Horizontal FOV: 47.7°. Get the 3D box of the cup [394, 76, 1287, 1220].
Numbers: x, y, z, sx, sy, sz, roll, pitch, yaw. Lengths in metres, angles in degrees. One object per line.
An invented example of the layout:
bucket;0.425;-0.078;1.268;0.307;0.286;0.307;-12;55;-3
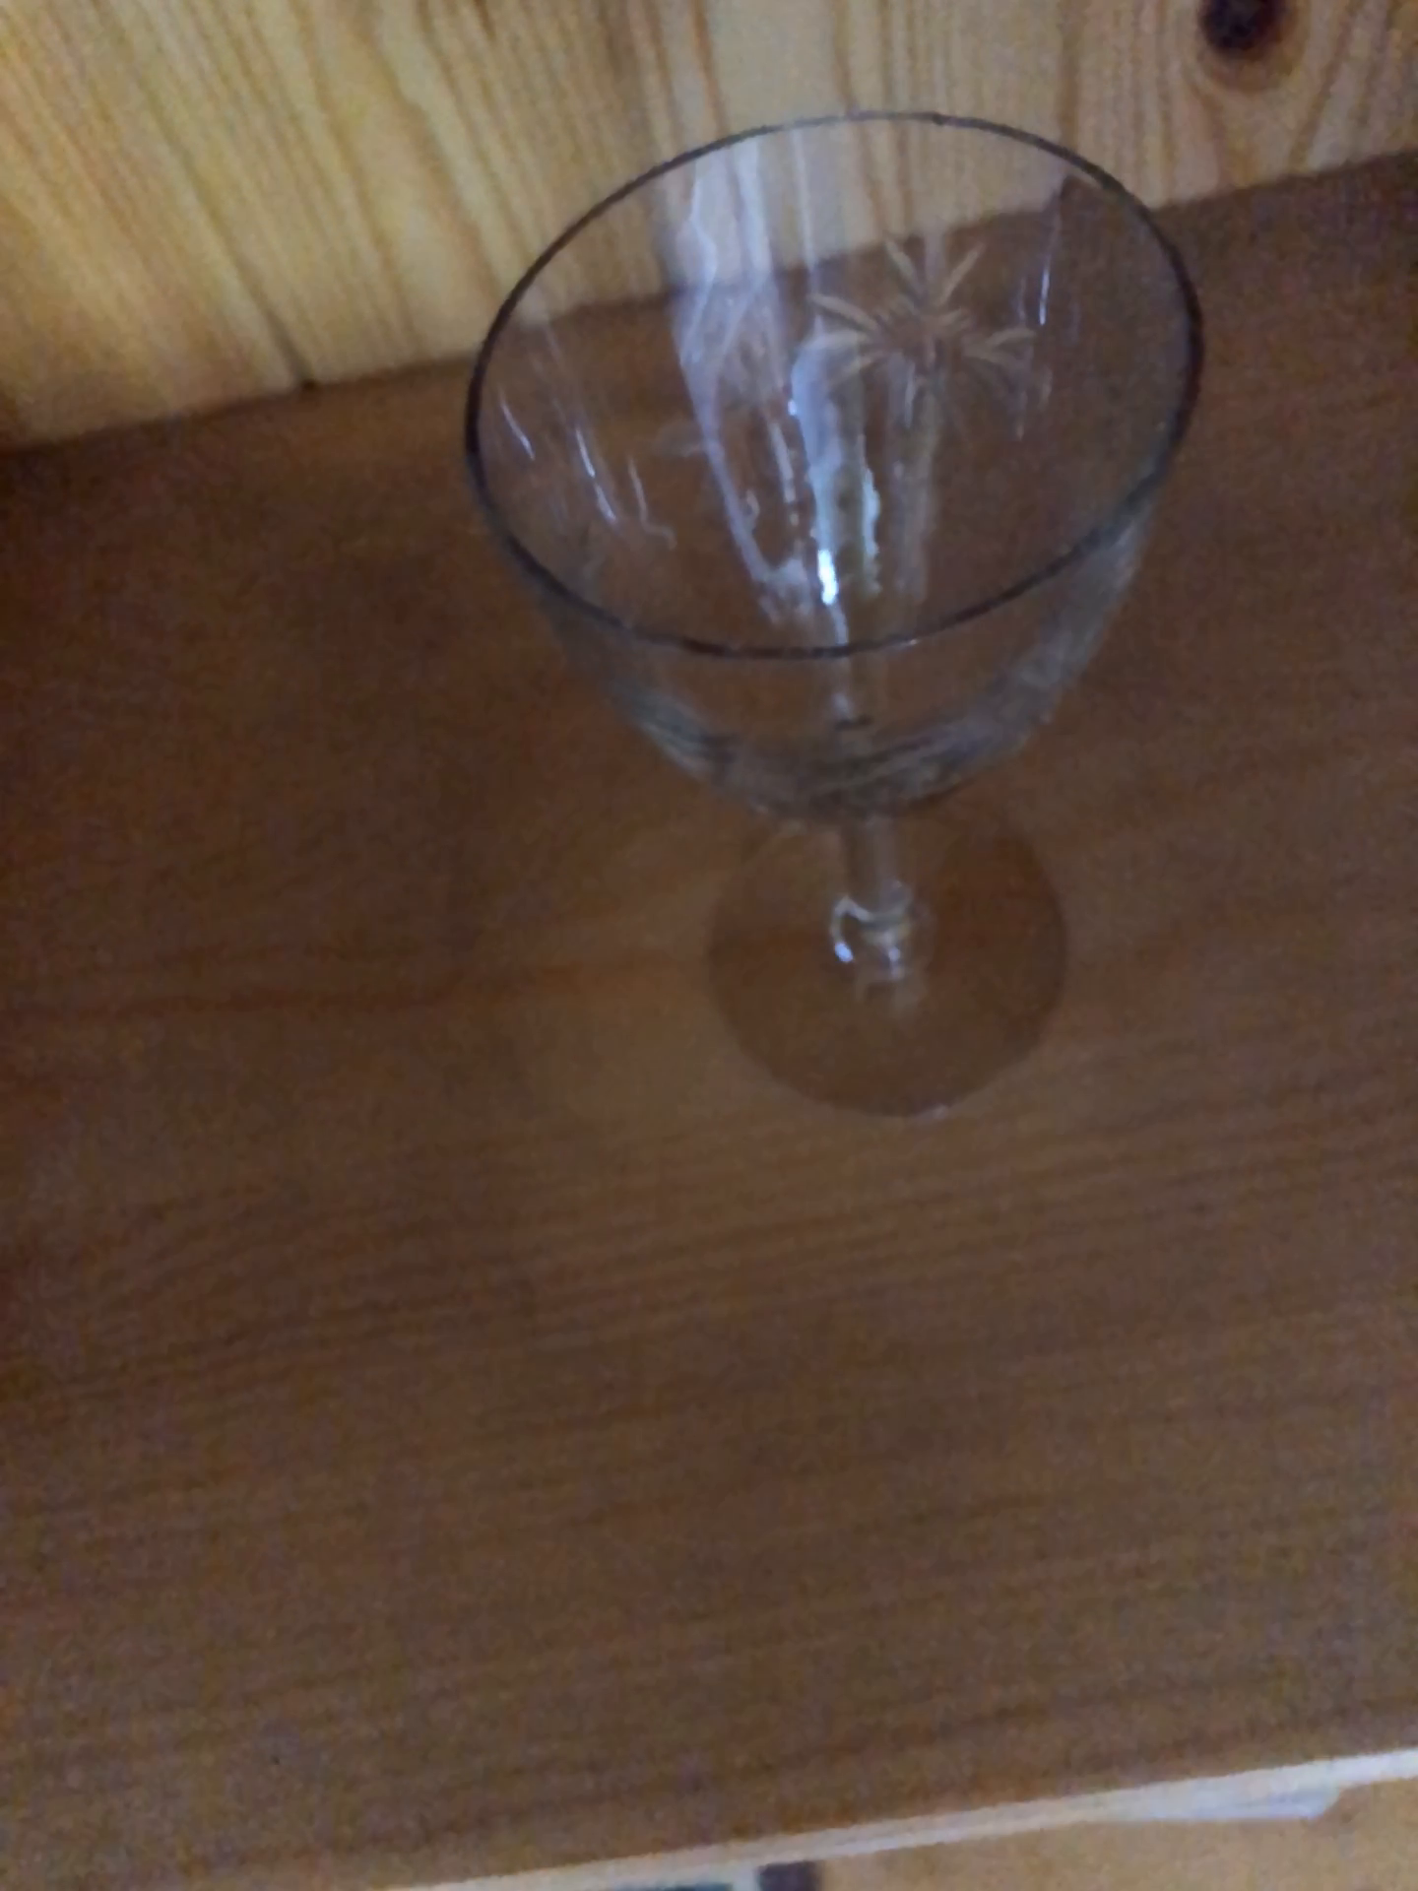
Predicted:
cup;0.023;-0.020;0.202;0.070;0.140;0.070;-4;65;8
